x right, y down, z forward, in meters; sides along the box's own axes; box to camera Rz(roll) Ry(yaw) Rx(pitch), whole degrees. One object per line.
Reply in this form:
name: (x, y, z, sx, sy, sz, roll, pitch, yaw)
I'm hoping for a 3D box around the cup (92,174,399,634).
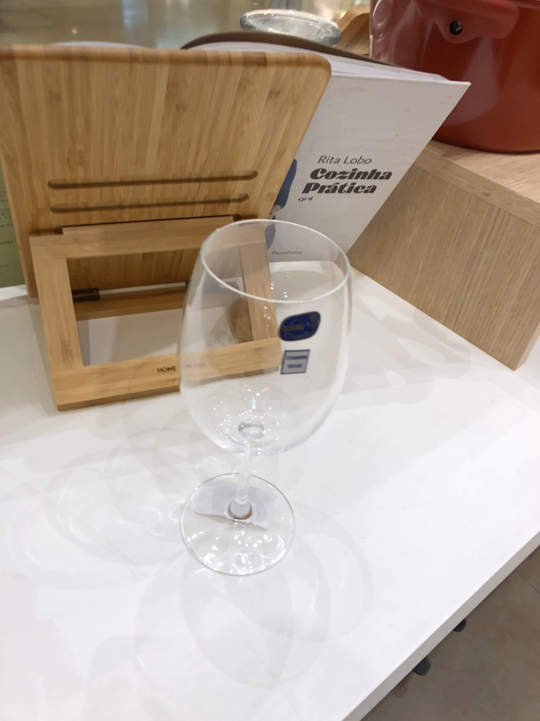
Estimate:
cup: (-0.025, 0.035, 0.335, 0.100, 0.238, 0.090, -21, 49, -29)
